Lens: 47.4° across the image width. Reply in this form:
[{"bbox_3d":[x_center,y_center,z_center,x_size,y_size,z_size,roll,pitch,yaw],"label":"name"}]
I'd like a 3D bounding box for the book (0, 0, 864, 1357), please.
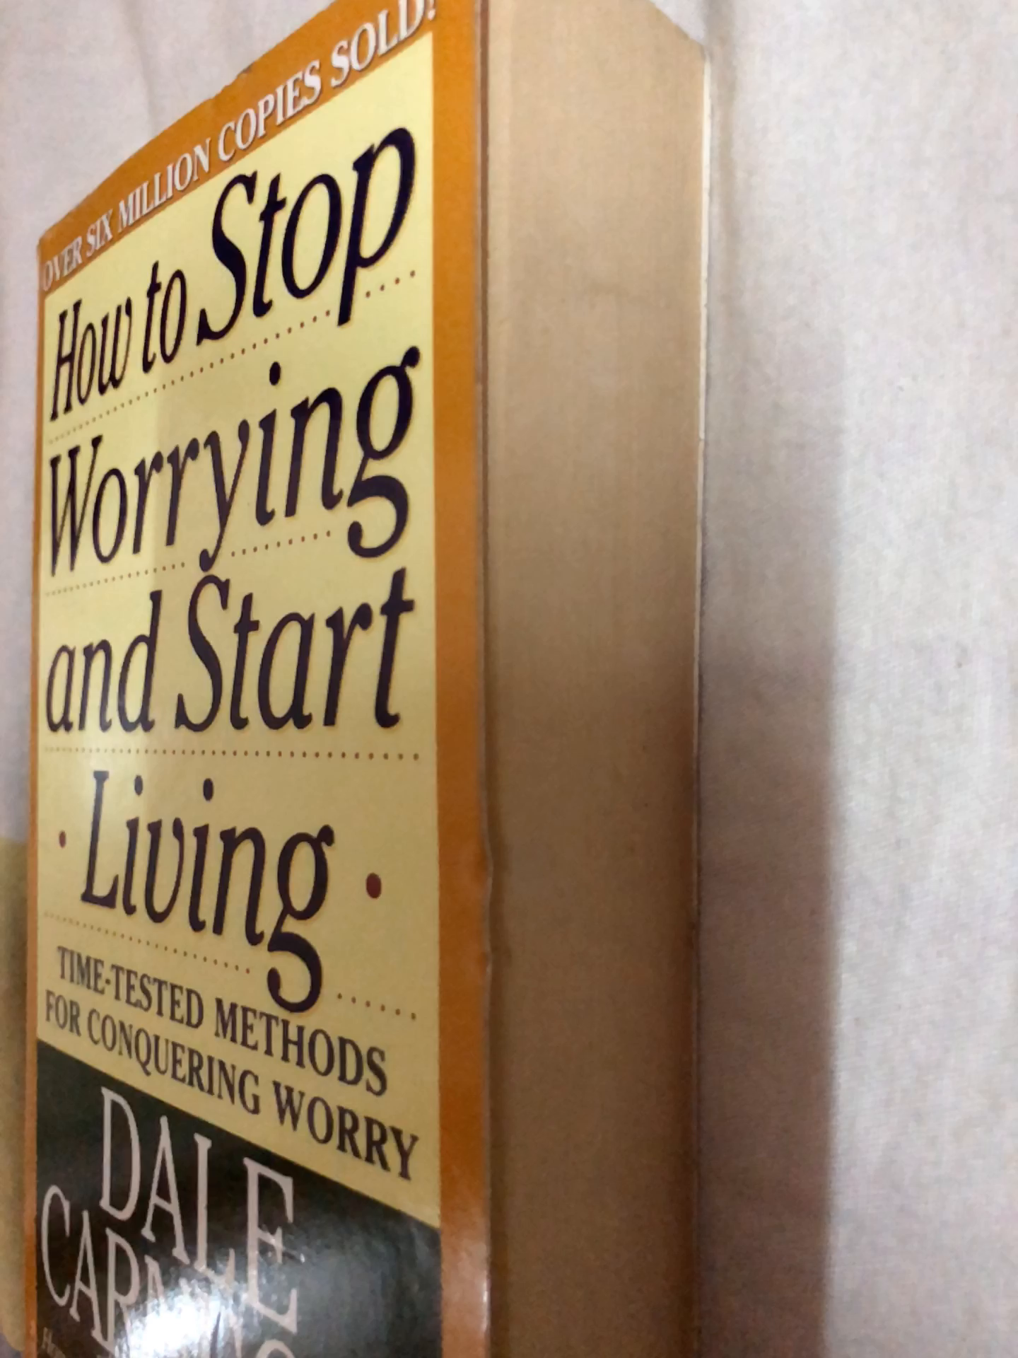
[{"bbox_3d":[-0.020,0.013,0.145,0.110,0.050,0.170,-2,86,43],"label":"book"}]
